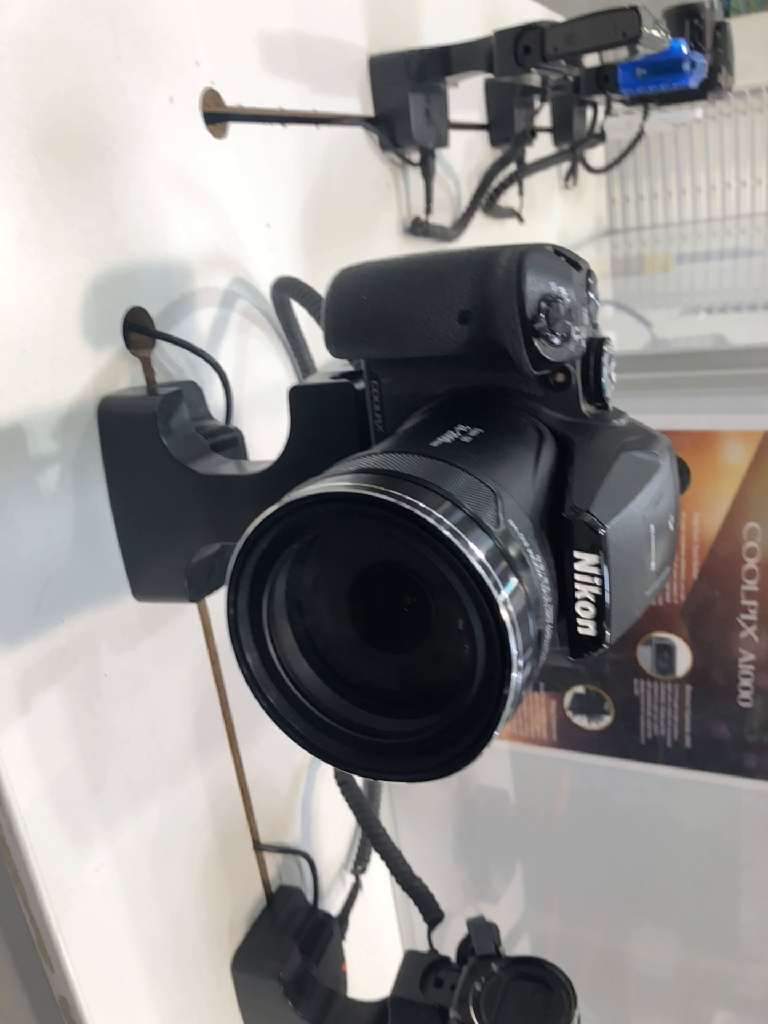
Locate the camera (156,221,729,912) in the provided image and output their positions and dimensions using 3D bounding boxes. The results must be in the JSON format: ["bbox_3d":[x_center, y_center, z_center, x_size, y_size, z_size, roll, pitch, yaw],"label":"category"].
[{"bbox_3d":[0.037,-0.005,0.251,0.151,0.109,0.140,-38,126,-60],"label":"camera"}]
